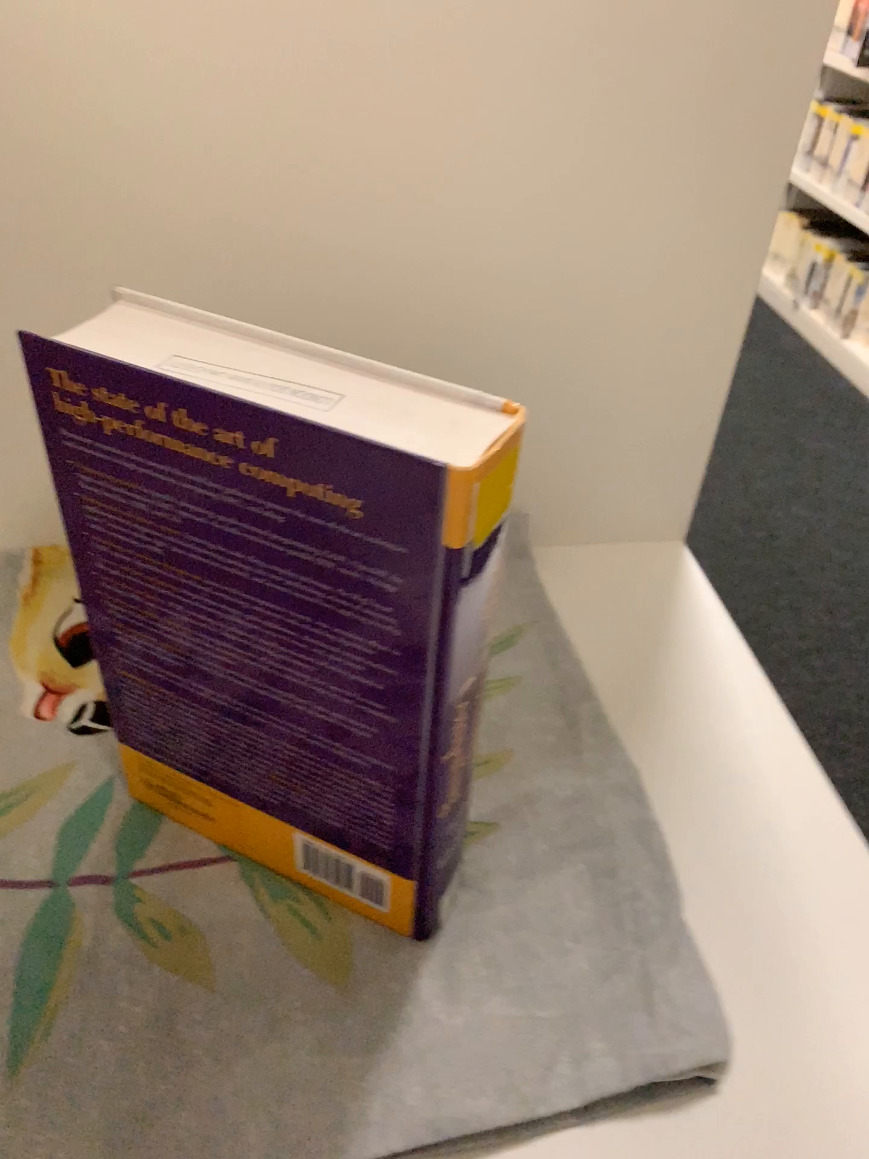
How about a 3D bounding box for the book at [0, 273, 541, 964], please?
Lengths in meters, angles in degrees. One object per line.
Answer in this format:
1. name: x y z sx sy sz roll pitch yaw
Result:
1. book: -0.061 0.028 0.345 0.168 0.243 0.049 20 43 19
